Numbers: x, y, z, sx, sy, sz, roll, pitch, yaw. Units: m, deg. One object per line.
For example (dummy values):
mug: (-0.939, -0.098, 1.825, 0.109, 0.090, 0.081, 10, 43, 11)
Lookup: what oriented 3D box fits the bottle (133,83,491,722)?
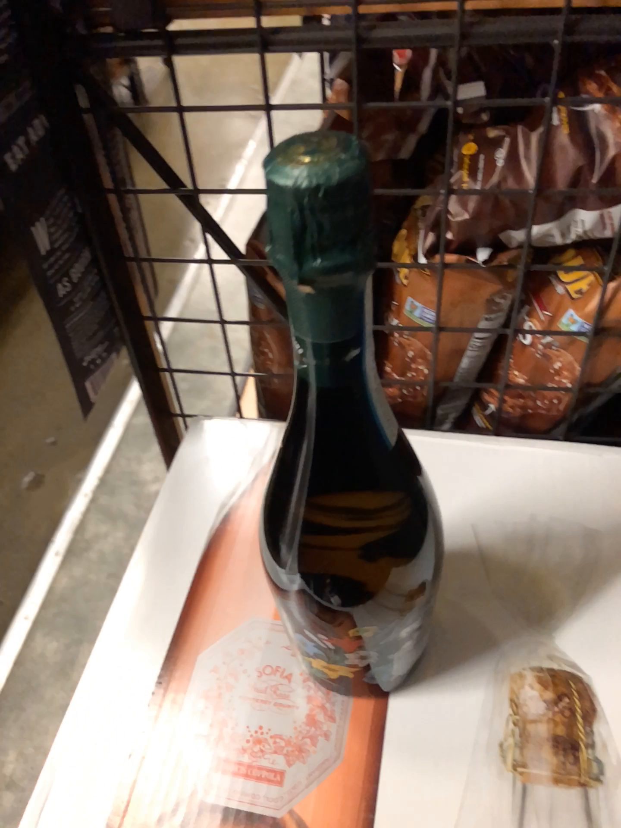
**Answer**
bottle: (0.016, 0.025, 0.309, 0.090, 0.299, 0.090, -3, 44, 3)
